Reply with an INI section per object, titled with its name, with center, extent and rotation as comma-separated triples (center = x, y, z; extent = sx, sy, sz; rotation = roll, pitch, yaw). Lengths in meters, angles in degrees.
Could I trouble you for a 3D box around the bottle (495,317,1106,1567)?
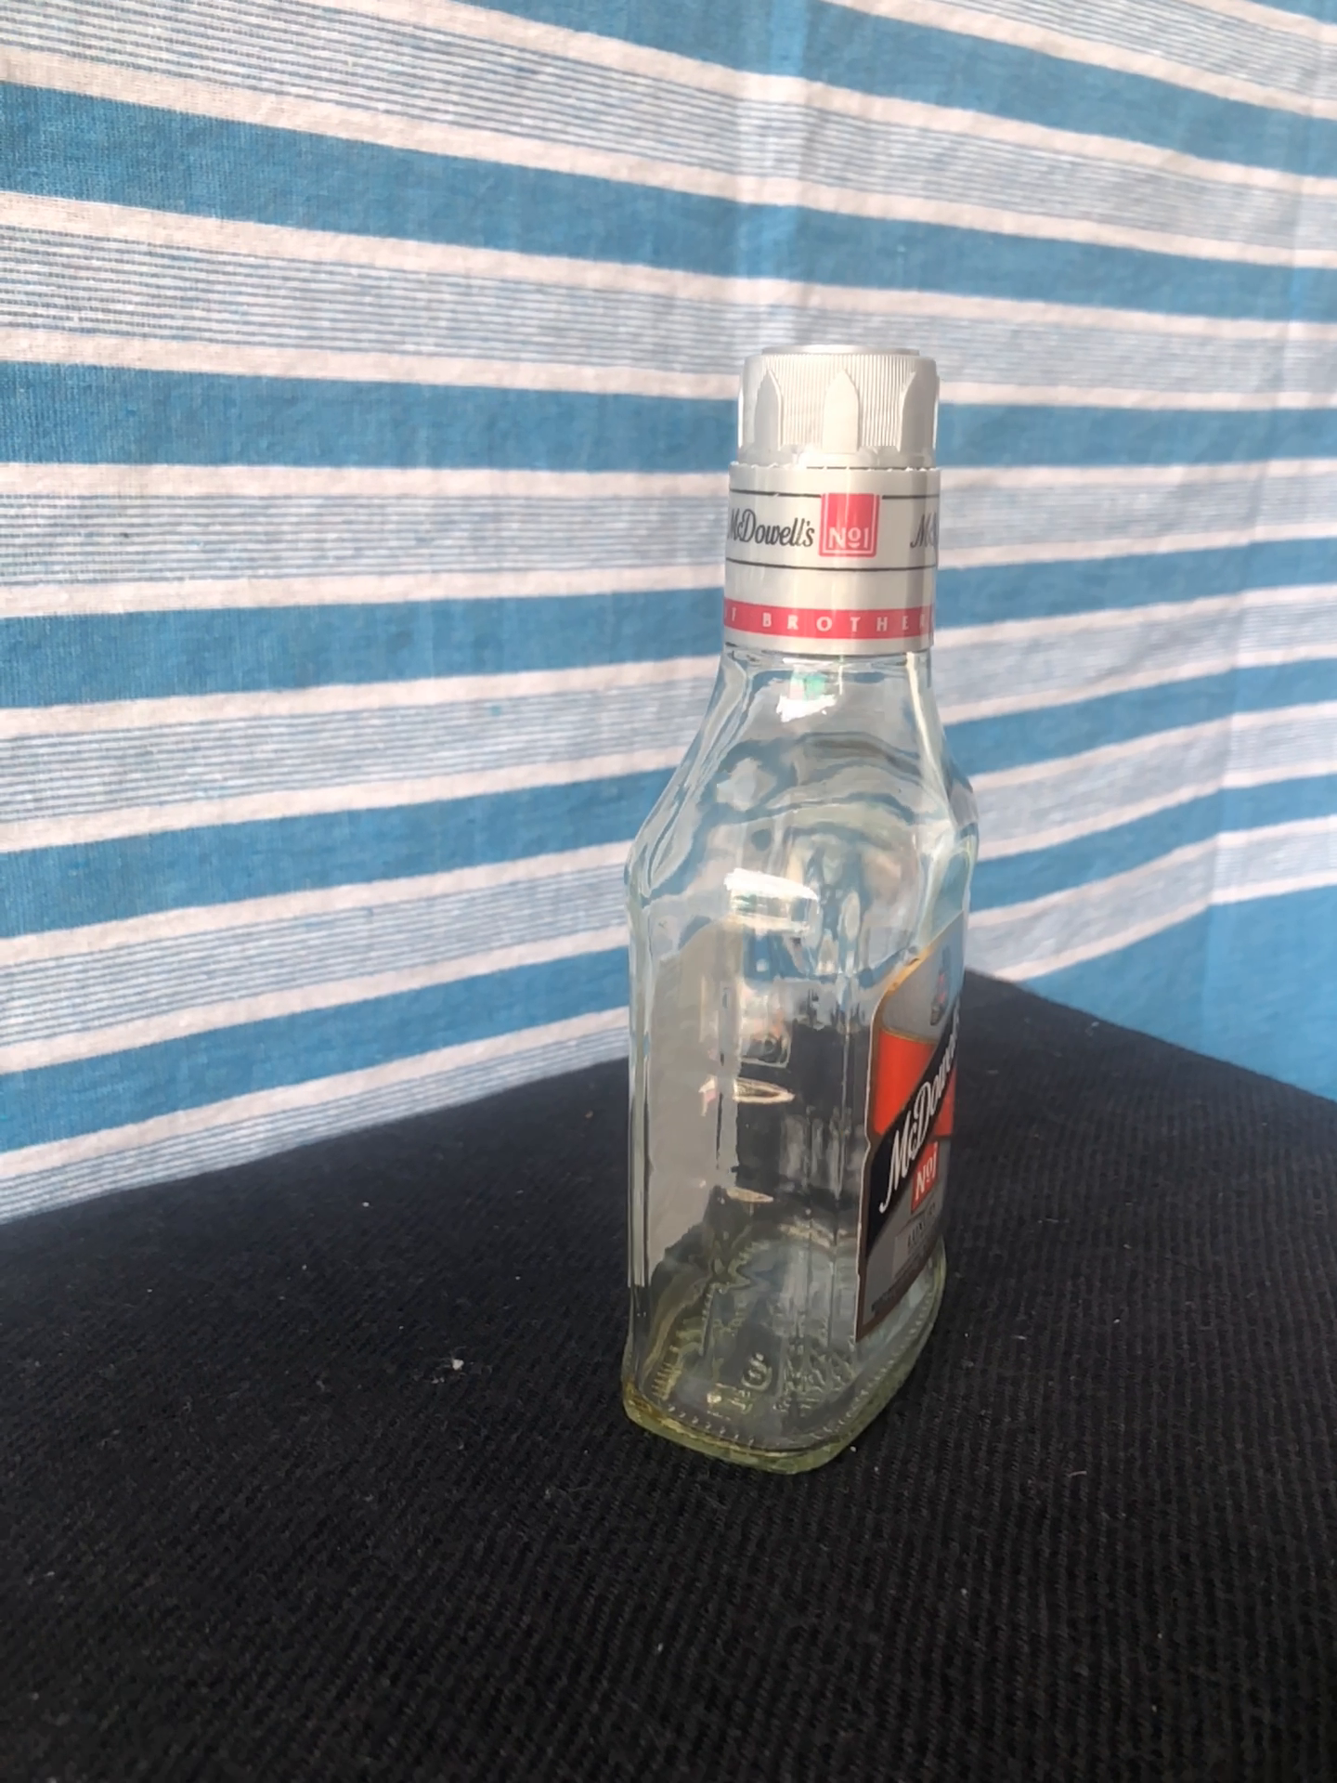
[bottle]
center = 0.019, 0.003, 0.212
extent = 0.050, 0.149, 0.070
rotation = 12, 18, 24
